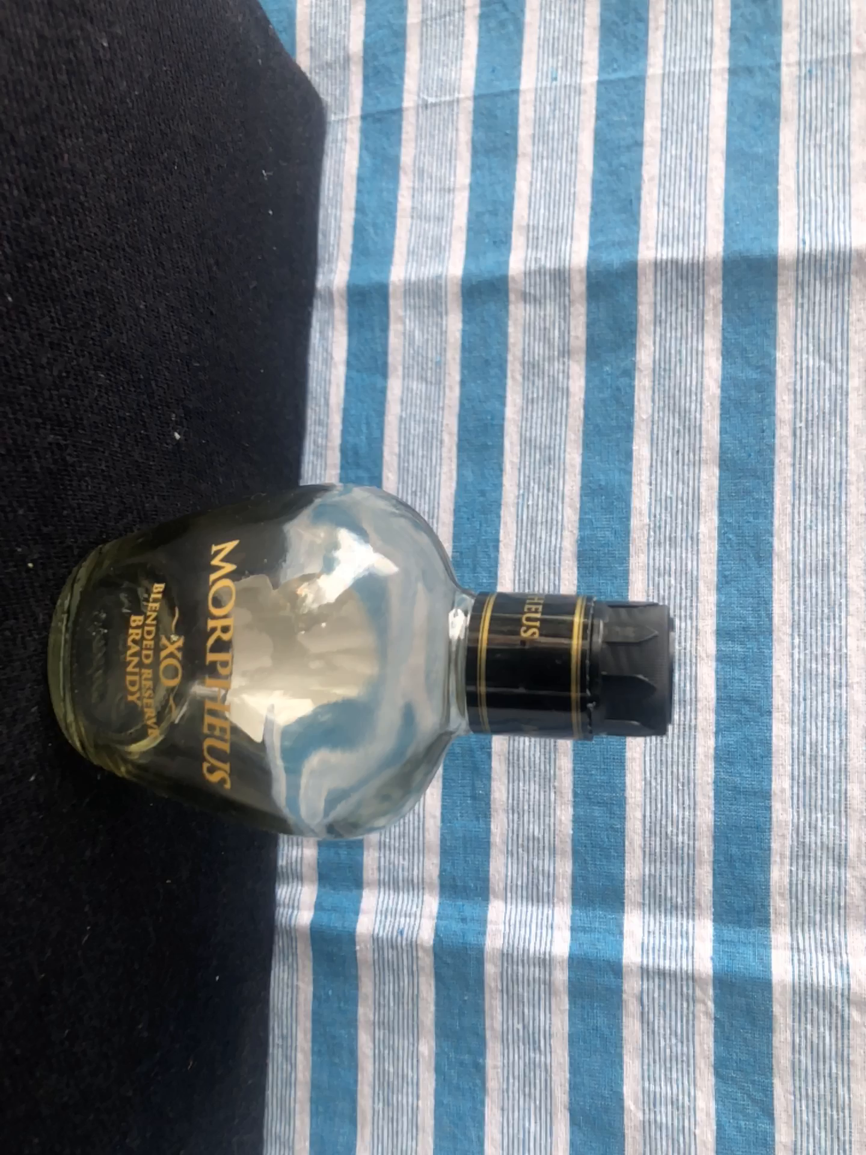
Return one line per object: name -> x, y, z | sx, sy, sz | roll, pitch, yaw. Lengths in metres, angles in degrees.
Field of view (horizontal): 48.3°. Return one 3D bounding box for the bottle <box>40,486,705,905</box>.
bottle -> -0.011, 0.018, 0.205 | 0.050, 0.129, 0.070 | -10, 102, -75
